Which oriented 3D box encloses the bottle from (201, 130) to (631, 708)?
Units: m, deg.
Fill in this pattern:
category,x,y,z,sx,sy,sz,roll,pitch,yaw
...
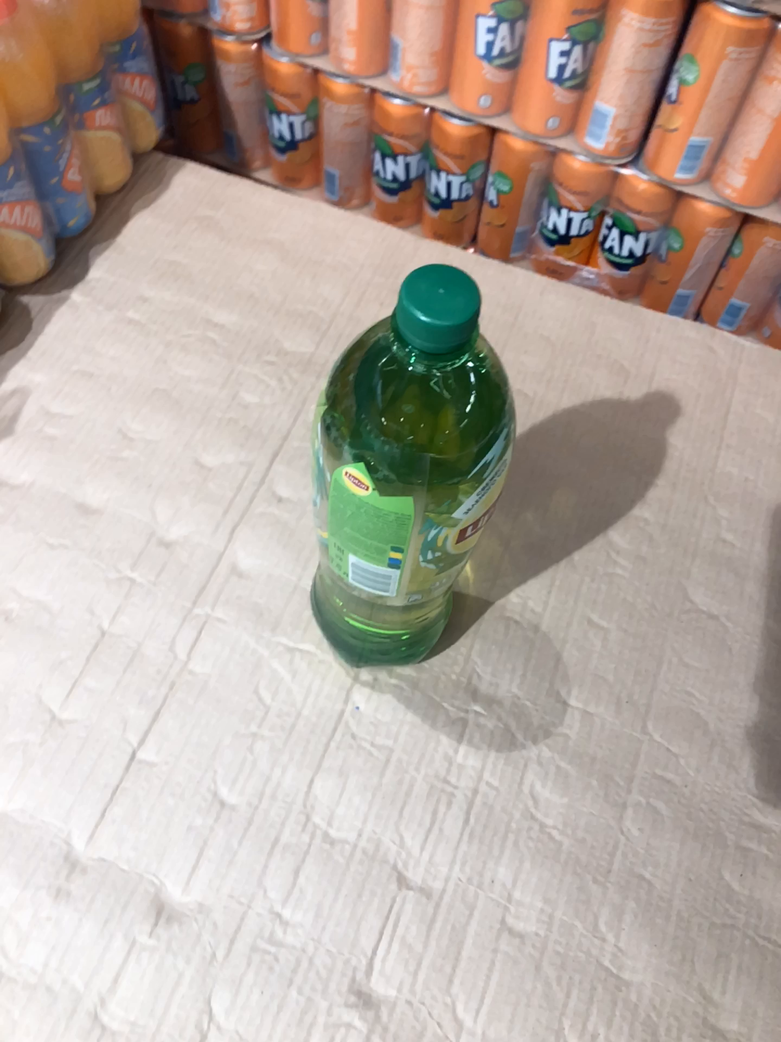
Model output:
category,x,y,z,sx,sy,sz,roll,pitch,yaw
bottle,0.005,-0.023,0.450,0.120,0.289,0.120,2,62,-3
